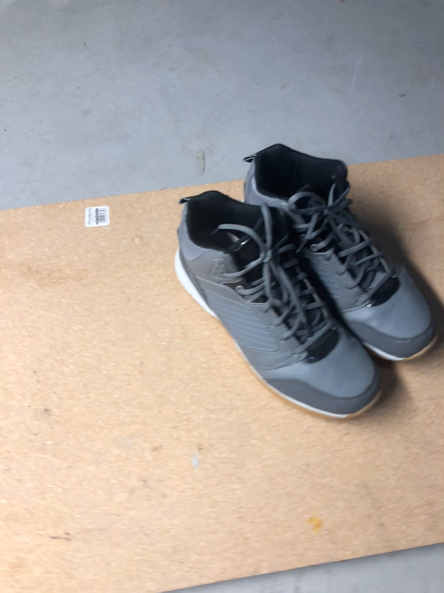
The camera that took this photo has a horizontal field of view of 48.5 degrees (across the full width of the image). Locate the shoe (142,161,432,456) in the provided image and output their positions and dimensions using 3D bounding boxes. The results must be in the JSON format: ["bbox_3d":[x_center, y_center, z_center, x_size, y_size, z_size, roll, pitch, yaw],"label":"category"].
[{"bbox_3d":[0.052,0.008,0.516,0.110,0.120,0.280,-36,67,-16],"label":"shoe"}]

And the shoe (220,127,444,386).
[{"bbox_3d":[0.124,-0.045,0.559,0.100,0.140,0.260,-40,68,-17],"label":"shoe"}]
